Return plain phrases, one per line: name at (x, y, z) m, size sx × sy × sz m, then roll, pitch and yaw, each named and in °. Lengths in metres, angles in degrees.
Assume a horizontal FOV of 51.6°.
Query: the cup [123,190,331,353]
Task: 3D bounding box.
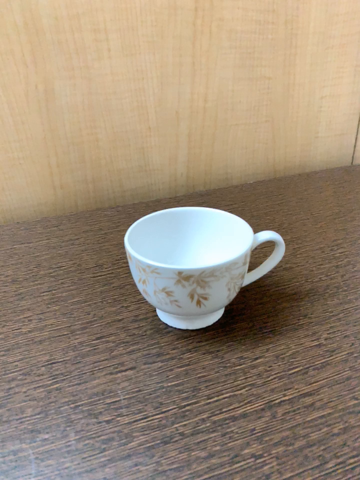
cup at (0.021, 0.012, 0.230) m, size 0.100 × 0.050 × 0.081 m, roll -9°, pitch 29°, yaw -11°
